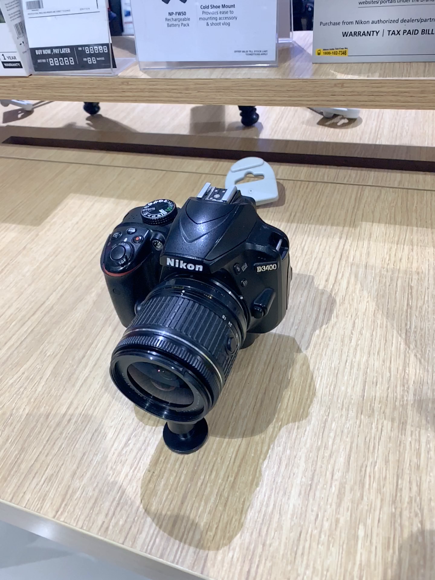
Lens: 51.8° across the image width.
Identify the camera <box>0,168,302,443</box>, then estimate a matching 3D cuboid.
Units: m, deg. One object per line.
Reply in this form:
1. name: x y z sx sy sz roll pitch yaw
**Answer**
1. camera: -0.023 0.001 0.229 0.110 0.073 0.100 10 46 16
